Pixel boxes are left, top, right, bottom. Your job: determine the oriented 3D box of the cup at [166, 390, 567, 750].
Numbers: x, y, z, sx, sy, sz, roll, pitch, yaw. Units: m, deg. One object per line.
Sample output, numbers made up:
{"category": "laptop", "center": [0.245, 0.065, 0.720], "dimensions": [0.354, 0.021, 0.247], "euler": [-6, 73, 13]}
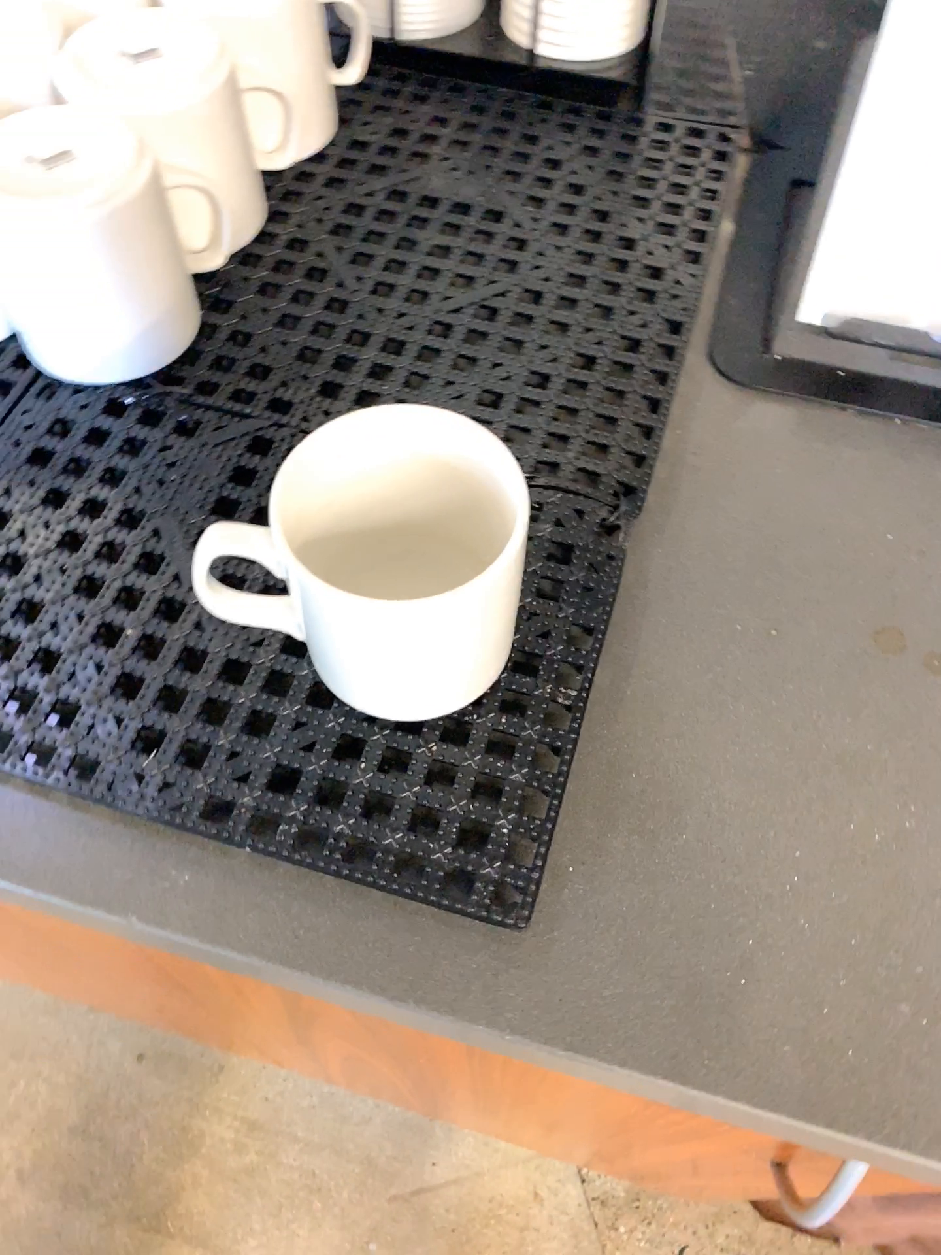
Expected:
{"category": "cup", "center": [-0.035, -0.019, 0.348], "dimensions": [0.120, 0.080, 0.090], "euler": [-5, 59, -3]}
